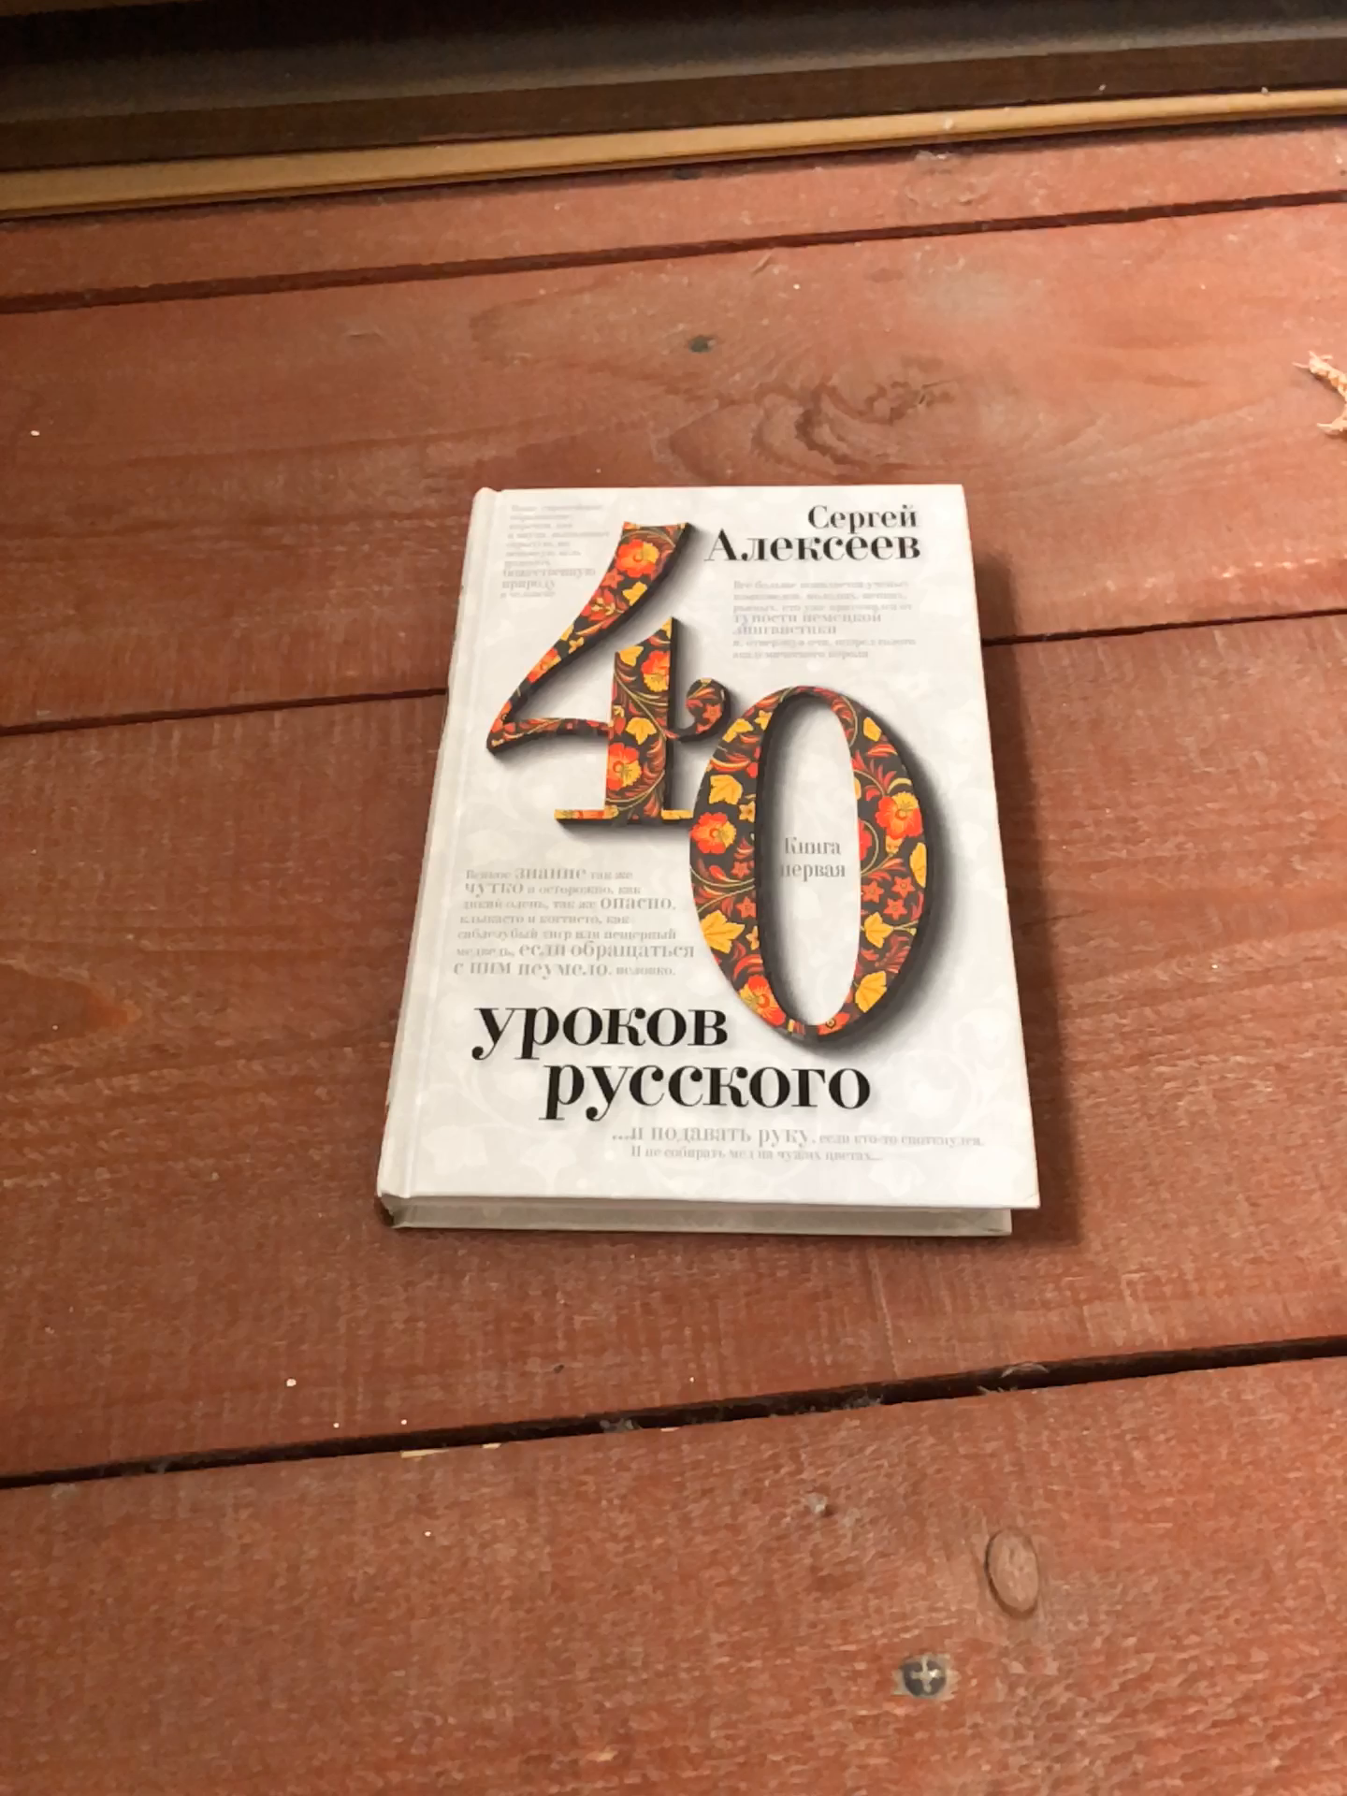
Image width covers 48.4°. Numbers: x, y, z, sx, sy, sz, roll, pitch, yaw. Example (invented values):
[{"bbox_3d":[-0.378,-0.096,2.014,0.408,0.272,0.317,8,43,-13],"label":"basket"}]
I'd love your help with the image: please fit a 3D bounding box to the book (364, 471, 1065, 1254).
[{"bbox_3d":[0.010,-0.019,0.354,0.135,0.030,0.200,0,58,2],"label":"book"}]
